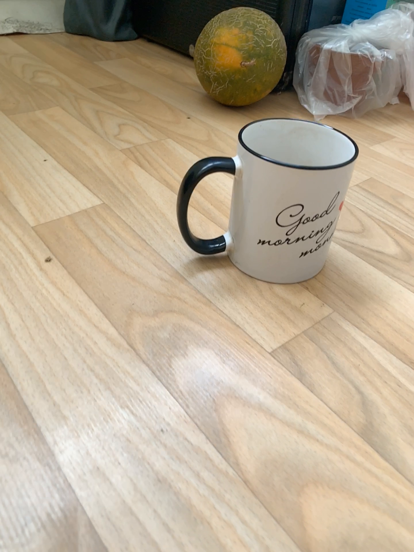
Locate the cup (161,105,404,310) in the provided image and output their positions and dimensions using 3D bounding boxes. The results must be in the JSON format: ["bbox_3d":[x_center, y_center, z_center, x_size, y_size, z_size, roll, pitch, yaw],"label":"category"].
[{"bbox_3d":[0.043,-0.053,0.302,0.130,0.100,0.080,-12,44,-21],"label":"cup"}]
